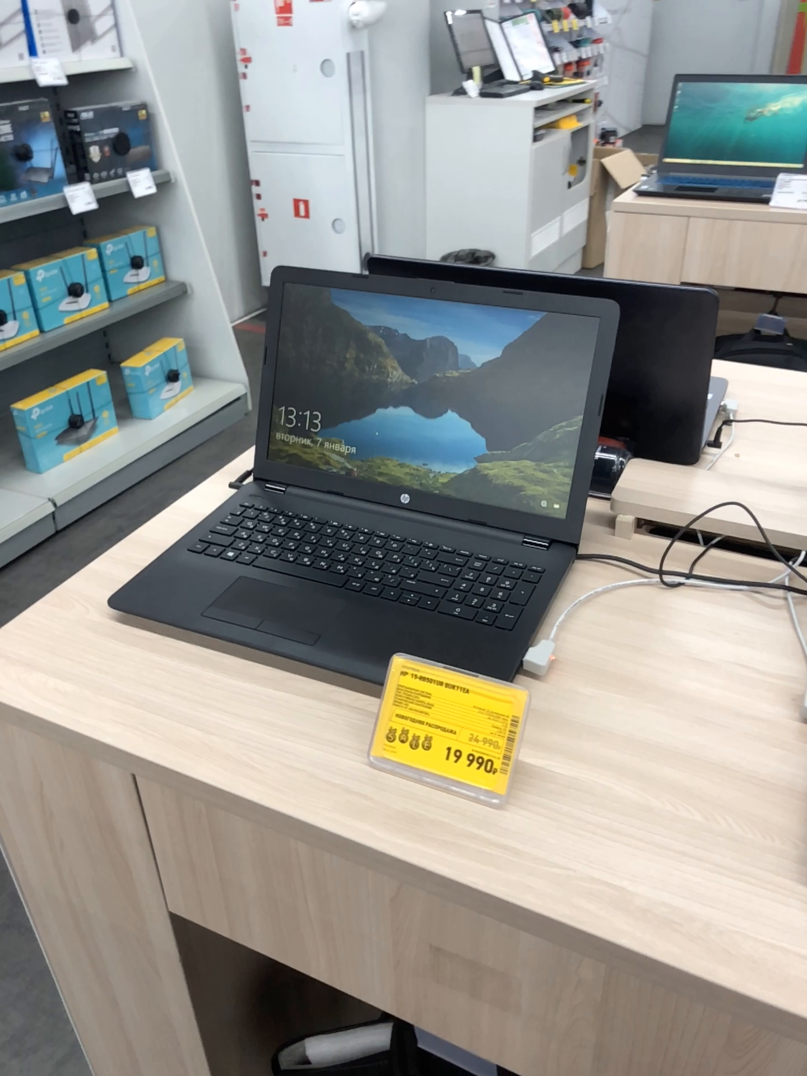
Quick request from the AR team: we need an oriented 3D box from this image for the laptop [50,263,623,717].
[{"bbox_3d":[-0.036,-0.082,0.819,0.376,0.217,0.343,13,35,22],"label":"laptop"}]
